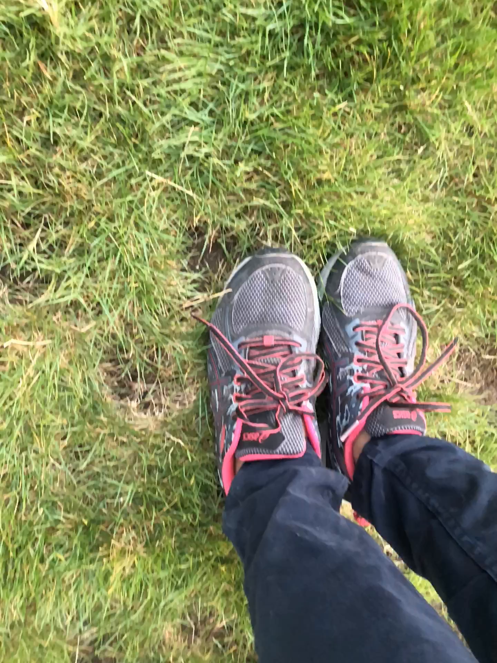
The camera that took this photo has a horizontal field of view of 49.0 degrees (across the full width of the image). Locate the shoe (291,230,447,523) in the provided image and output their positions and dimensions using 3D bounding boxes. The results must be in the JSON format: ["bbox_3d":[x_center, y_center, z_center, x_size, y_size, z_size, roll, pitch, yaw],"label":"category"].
[{"bbox_3d":[0.109,0.037,0.528,0.090,0.120,0.250,2,95,-13],"label":"shoe"}]

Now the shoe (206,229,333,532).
[{"bbox_3d":[0.013,0.039,0.506,0.088,0.120,0.245,1,92,-10],"label":"shoe"}]
